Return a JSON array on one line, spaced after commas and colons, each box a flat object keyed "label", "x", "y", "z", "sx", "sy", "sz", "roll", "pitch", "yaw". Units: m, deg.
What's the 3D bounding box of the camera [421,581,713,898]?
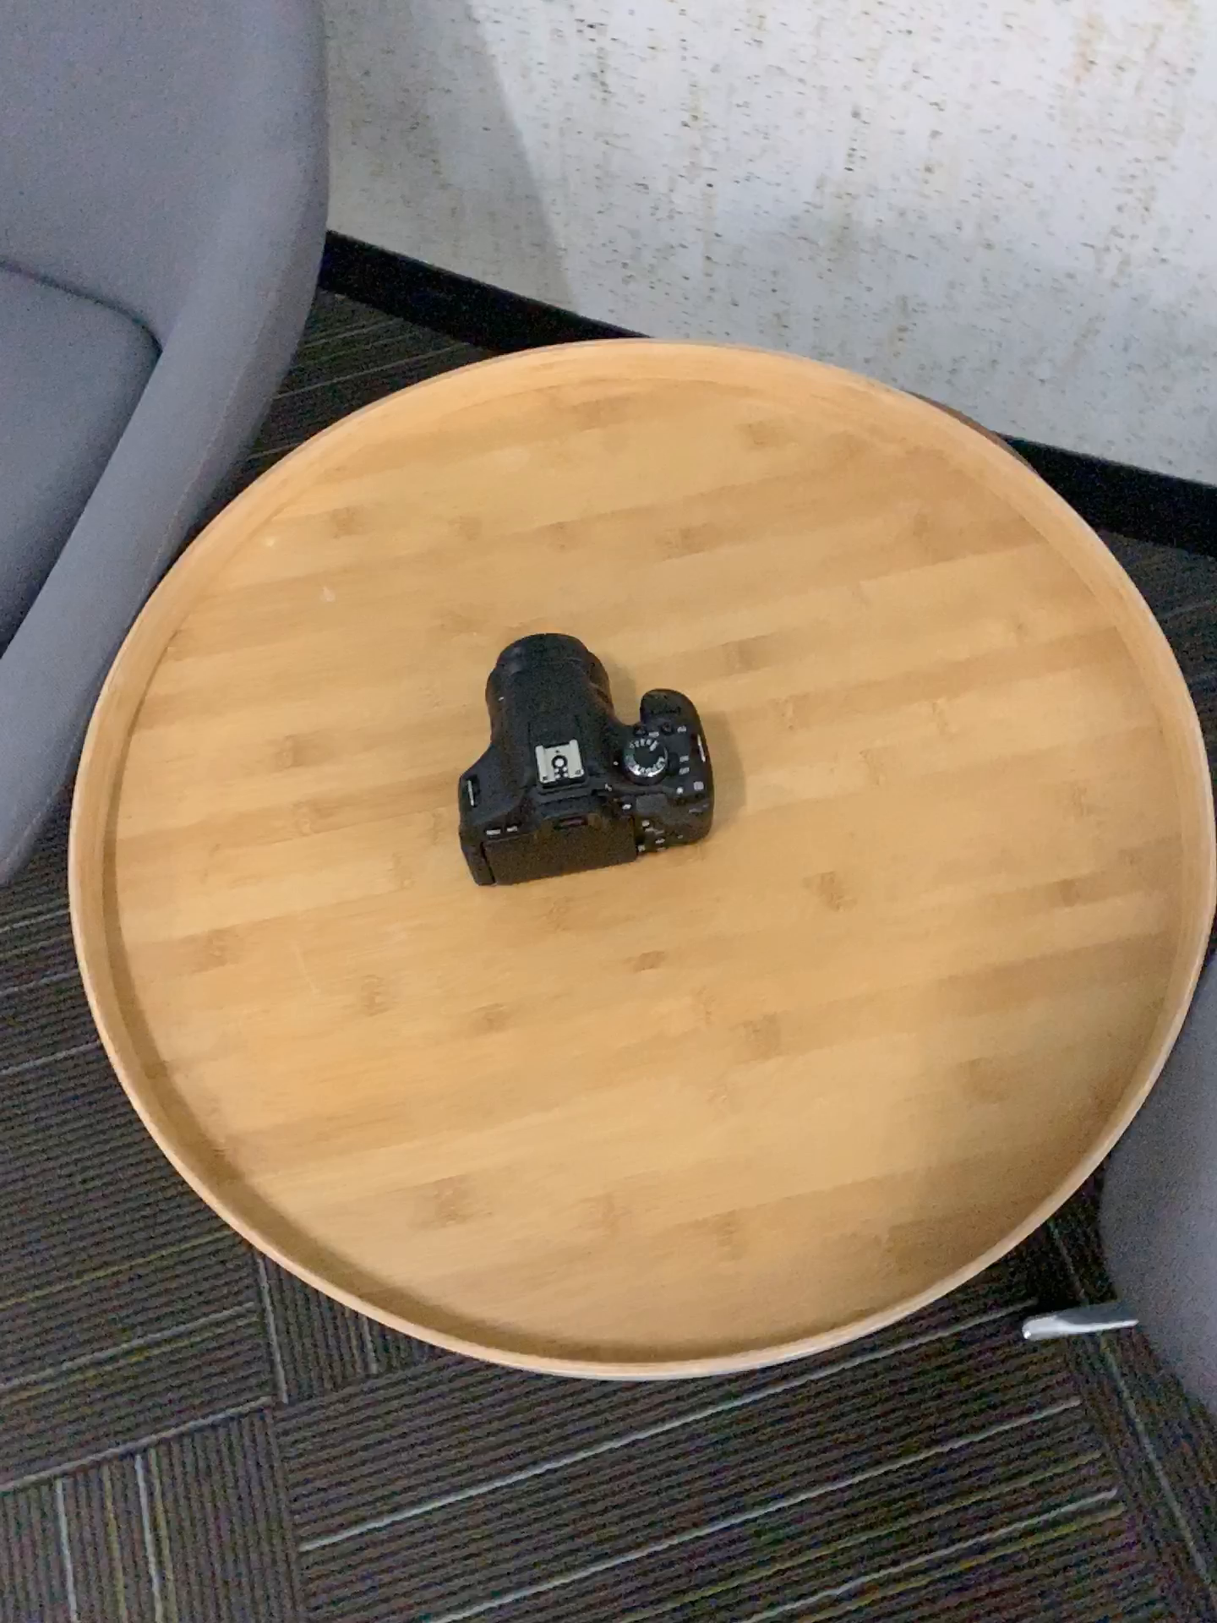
[{"label": "camera", "x": -0.021, "y": -0.037, "z": 0.678, "sx": 0.134, "sy": 0.100, "sz": 0.120, "roll": -10, "pitch": 66, "yaw": 0}]
